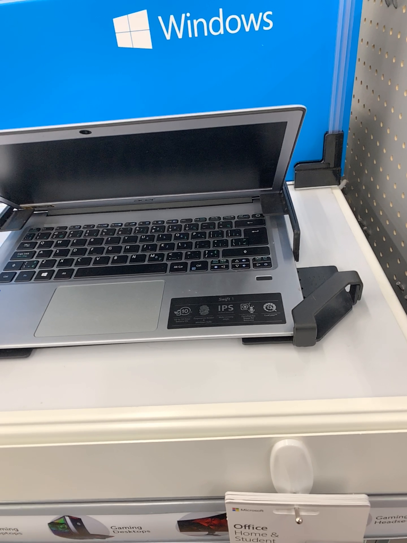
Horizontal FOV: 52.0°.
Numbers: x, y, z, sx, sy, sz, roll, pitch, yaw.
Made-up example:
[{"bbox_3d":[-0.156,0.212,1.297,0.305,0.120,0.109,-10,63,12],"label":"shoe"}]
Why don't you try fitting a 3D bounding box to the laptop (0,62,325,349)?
[{"bbox_3d":[-0.077,-0.068,0.364,0.305,0.141,0.214,-3,37,5],"label":"laptop"}]
